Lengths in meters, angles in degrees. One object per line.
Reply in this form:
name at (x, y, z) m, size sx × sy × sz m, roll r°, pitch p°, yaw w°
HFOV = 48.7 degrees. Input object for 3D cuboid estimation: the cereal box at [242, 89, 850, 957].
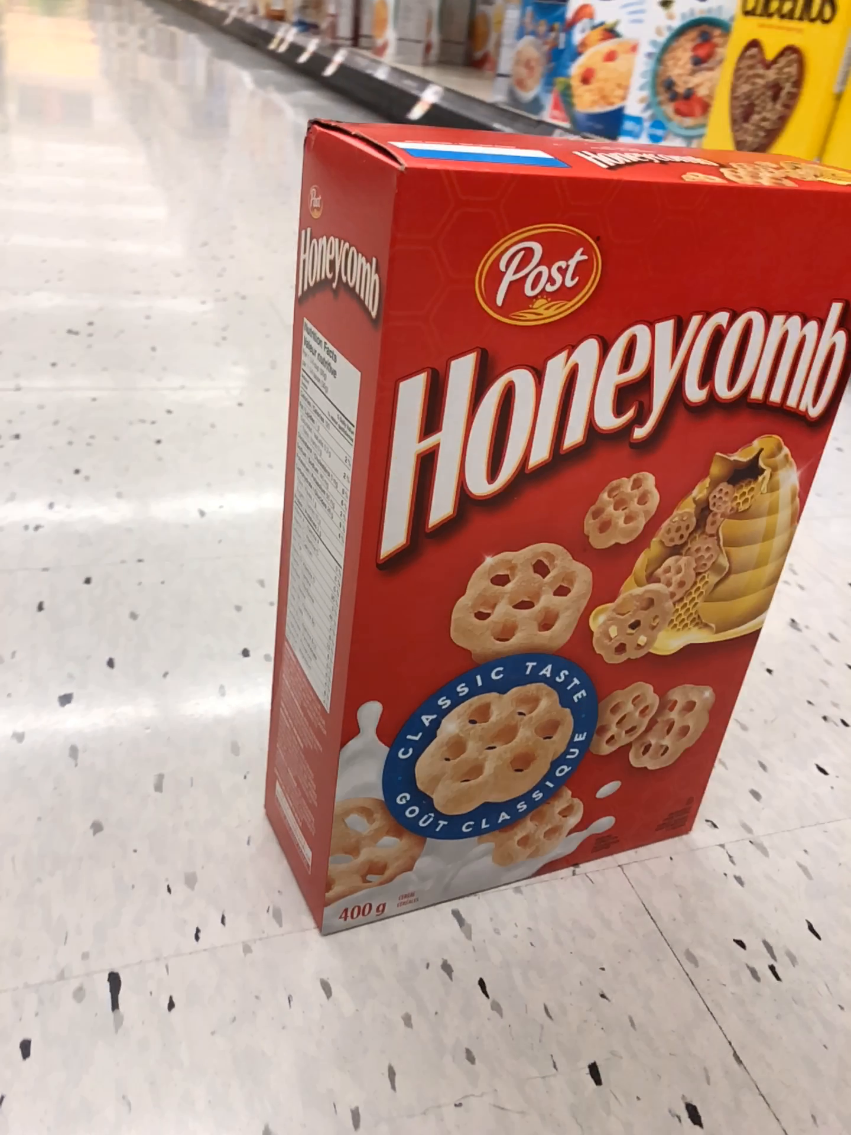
cereal box at (0.046, -0.009, 0.374) m, size 0.210 × 0.298 × 0.090 m, roll -7°, pitch 34°, yaw -24°
